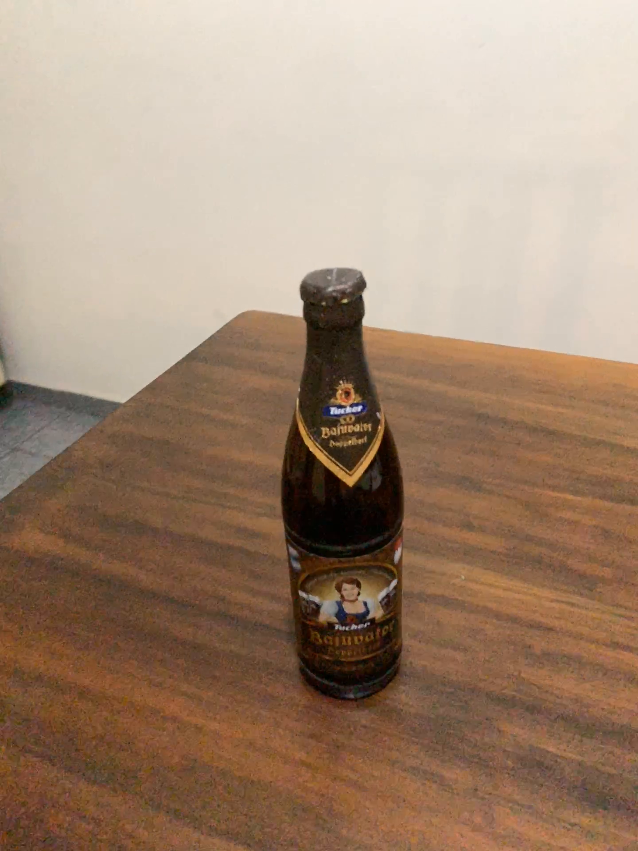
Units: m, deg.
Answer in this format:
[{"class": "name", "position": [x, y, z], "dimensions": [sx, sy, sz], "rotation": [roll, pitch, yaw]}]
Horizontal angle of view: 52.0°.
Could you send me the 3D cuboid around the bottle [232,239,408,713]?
[{"class": "bottle", "position": [0.006, 0.044, 0.358], "dimensions": [0.070, 0.268, 0.060], "rotation": [-7, 33, -4]}]
